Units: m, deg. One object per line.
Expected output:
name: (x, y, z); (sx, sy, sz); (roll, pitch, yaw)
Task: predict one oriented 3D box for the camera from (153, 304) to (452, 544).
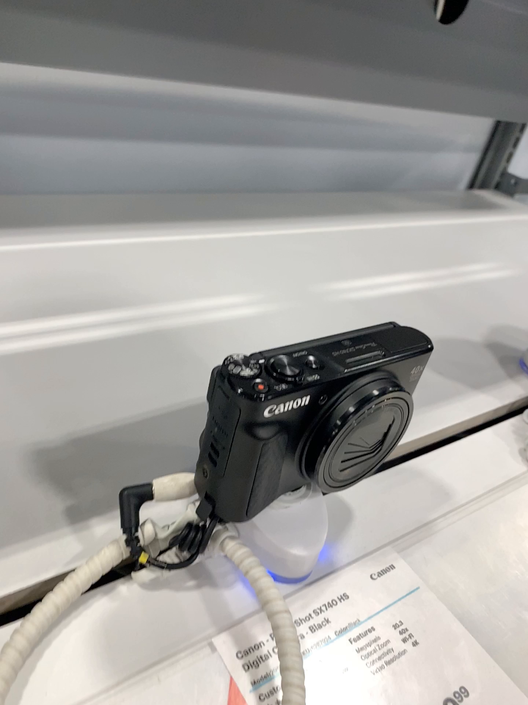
camera: (0.019, 0.024, 0.241); (0.120, 0.063, 0.042); (-13, 41, -36)
